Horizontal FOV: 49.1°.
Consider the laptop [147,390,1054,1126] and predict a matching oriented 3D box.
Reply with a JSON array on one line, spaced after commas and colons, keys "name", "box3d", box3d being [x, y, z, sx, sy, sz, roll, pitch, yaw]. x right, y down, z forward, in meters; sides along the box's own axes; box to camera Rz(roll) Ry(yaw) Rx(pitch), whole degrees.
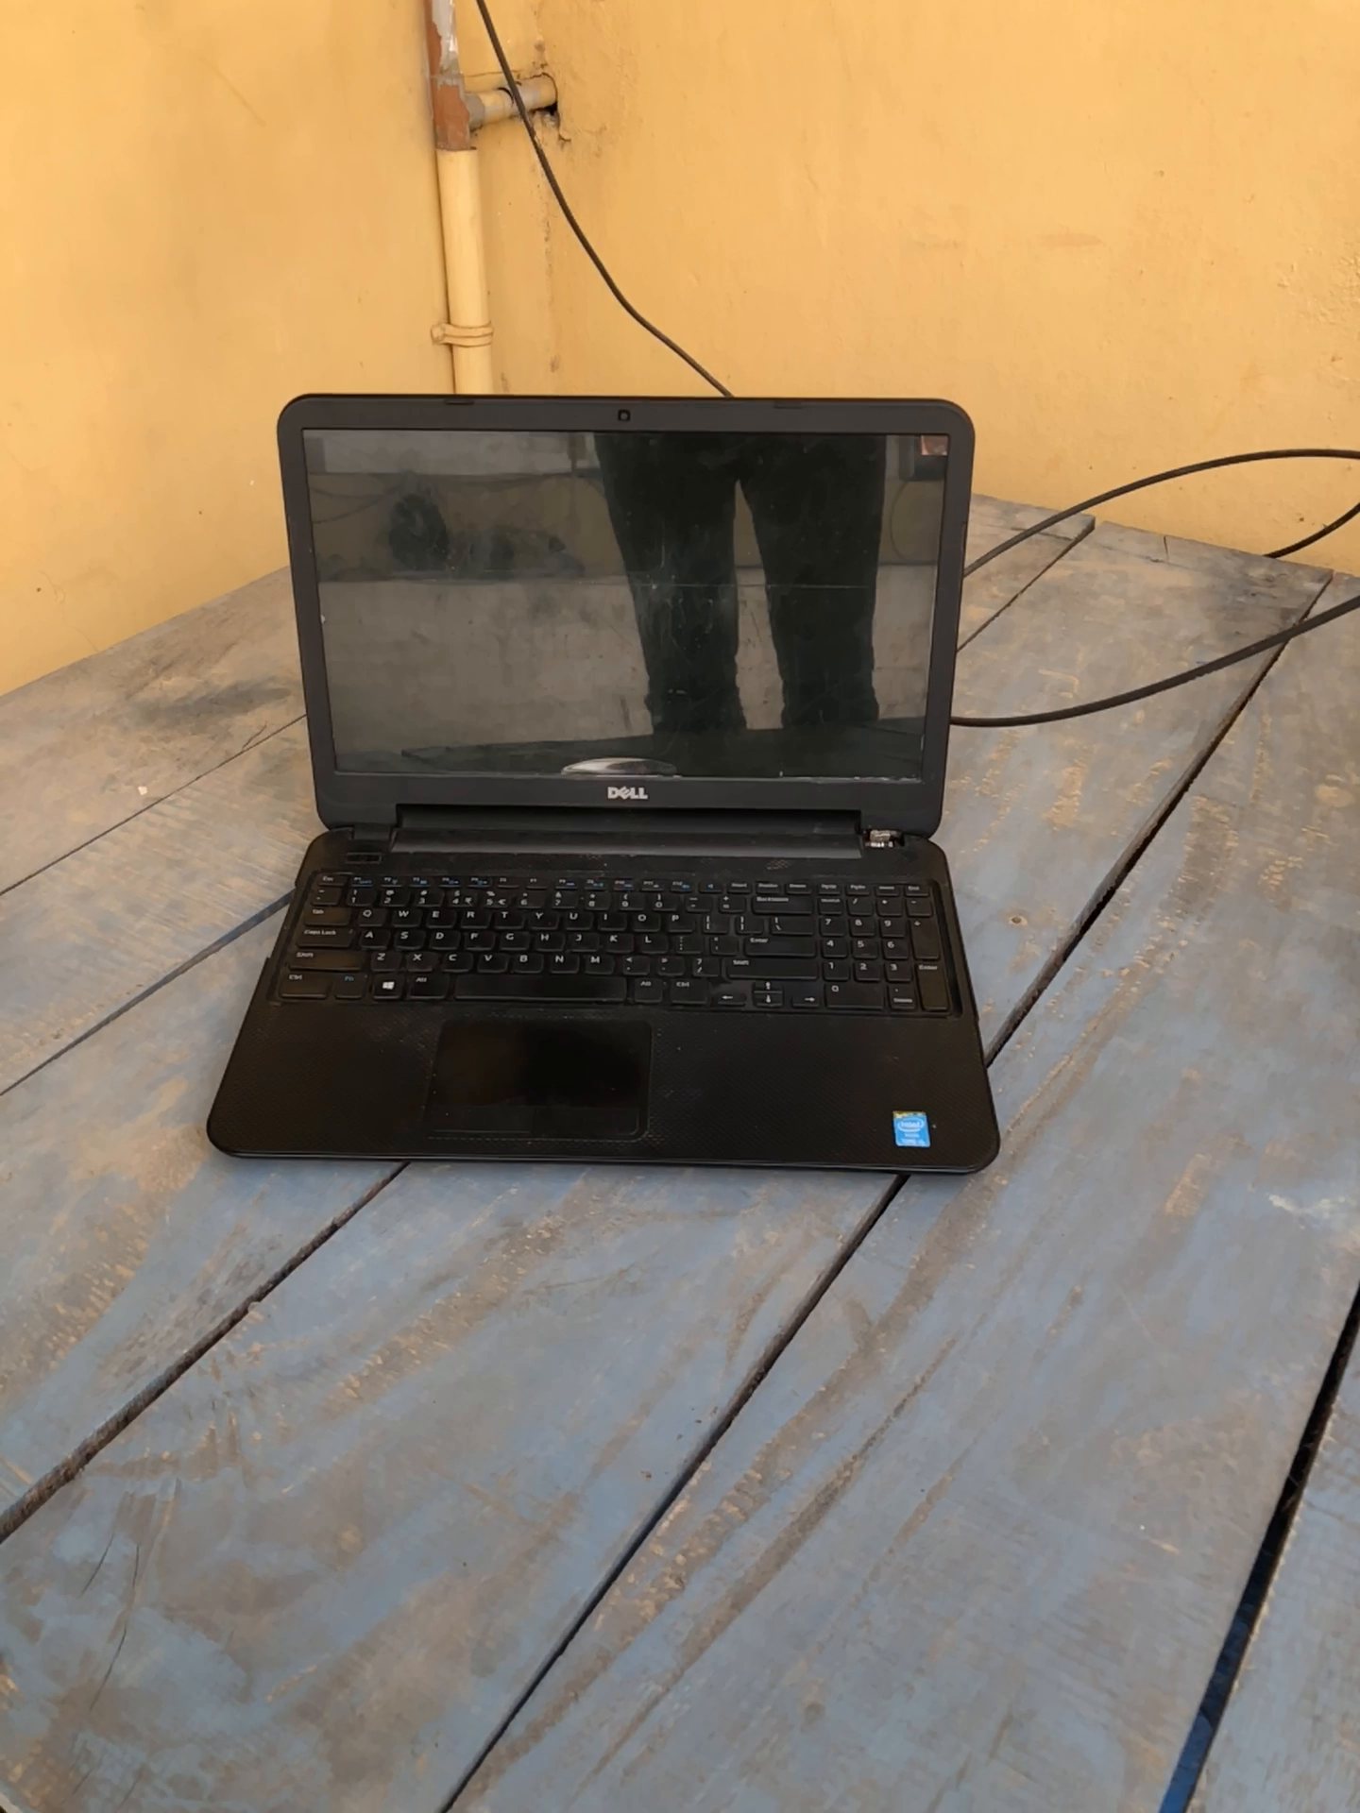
[{"name": "laptop", "box3d": [-0.024, -0.088, 0.725, 0.331, 0.214, 0.308, 0, 37, 2]}]
